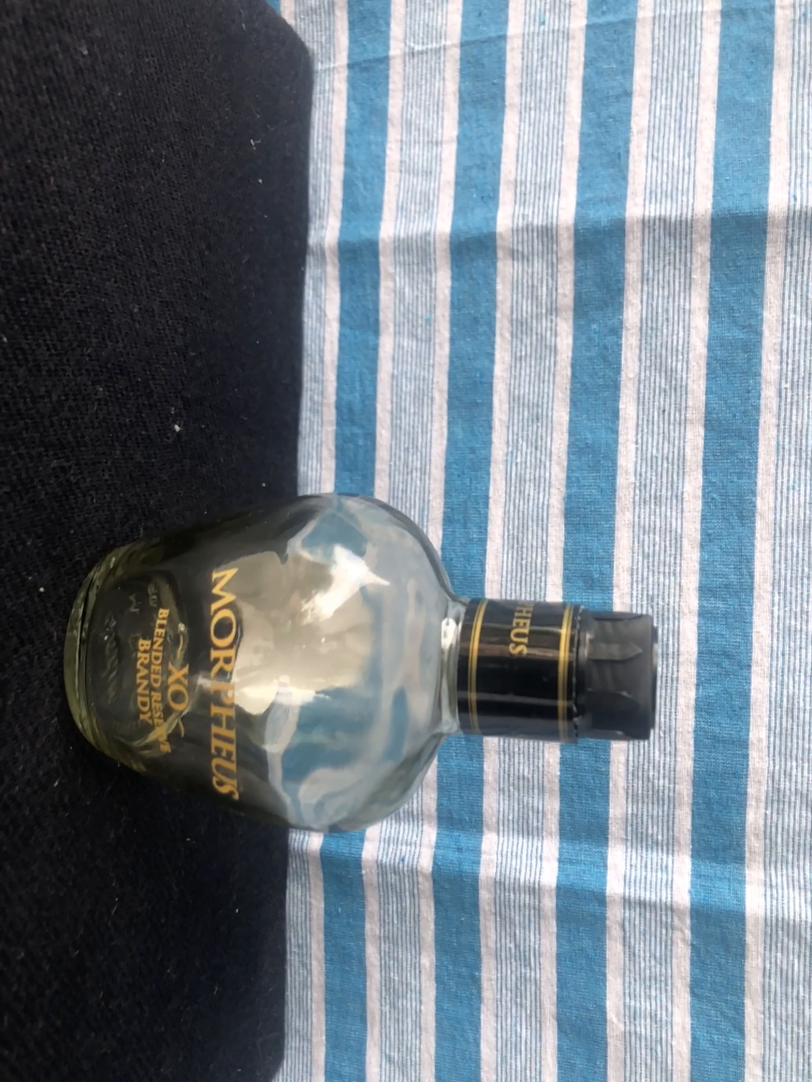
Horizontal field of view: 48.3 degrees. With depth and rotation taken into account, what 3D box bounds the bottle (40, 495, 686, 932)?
[{"bbox_3d":[-0.007,0.030,0.202,0.050,0.129,0.070,-29,120,-71],"label":"bottle"}]
